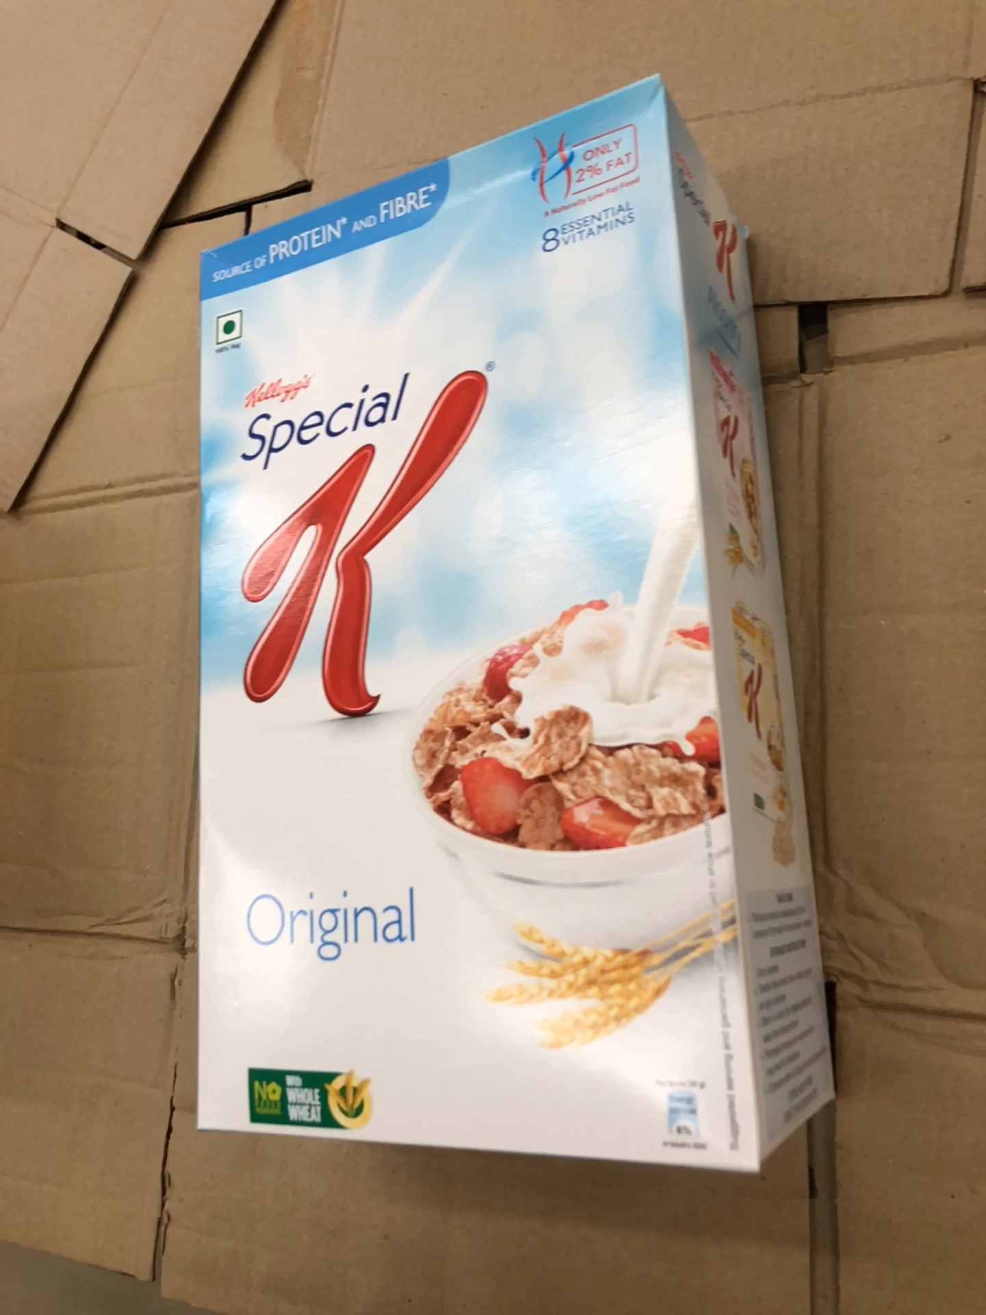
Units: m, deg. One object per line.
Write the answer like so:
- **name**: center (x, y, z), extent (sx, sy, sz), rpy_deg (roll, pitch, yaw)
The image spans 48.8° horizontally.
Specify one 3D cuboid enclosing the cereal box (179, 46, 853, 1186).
- **cereal box**: center (0.002, -0.007, 0.362), extent (0.180, 0.100, 0.300), rpy_deg (-8, 77, 27)
